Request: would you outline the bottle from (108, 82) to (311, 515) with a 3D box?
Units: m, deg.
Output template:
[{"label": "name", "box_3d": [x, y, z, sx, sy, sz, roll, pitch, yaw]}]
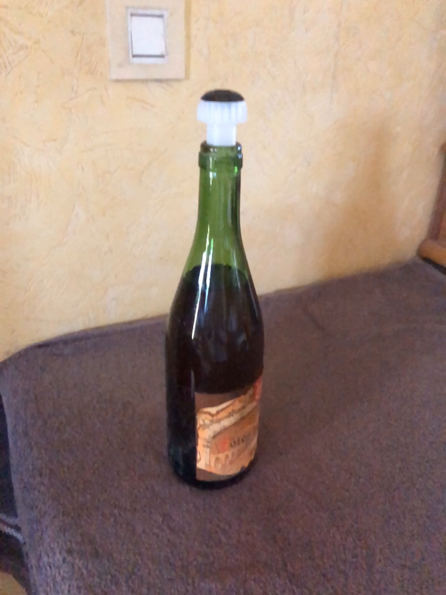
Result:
[{"label": "bottle", "box_3d": [-0.011, 0.009, 0.380, 0.090, 0.308, 0.091, 2, 28, -1]}]
